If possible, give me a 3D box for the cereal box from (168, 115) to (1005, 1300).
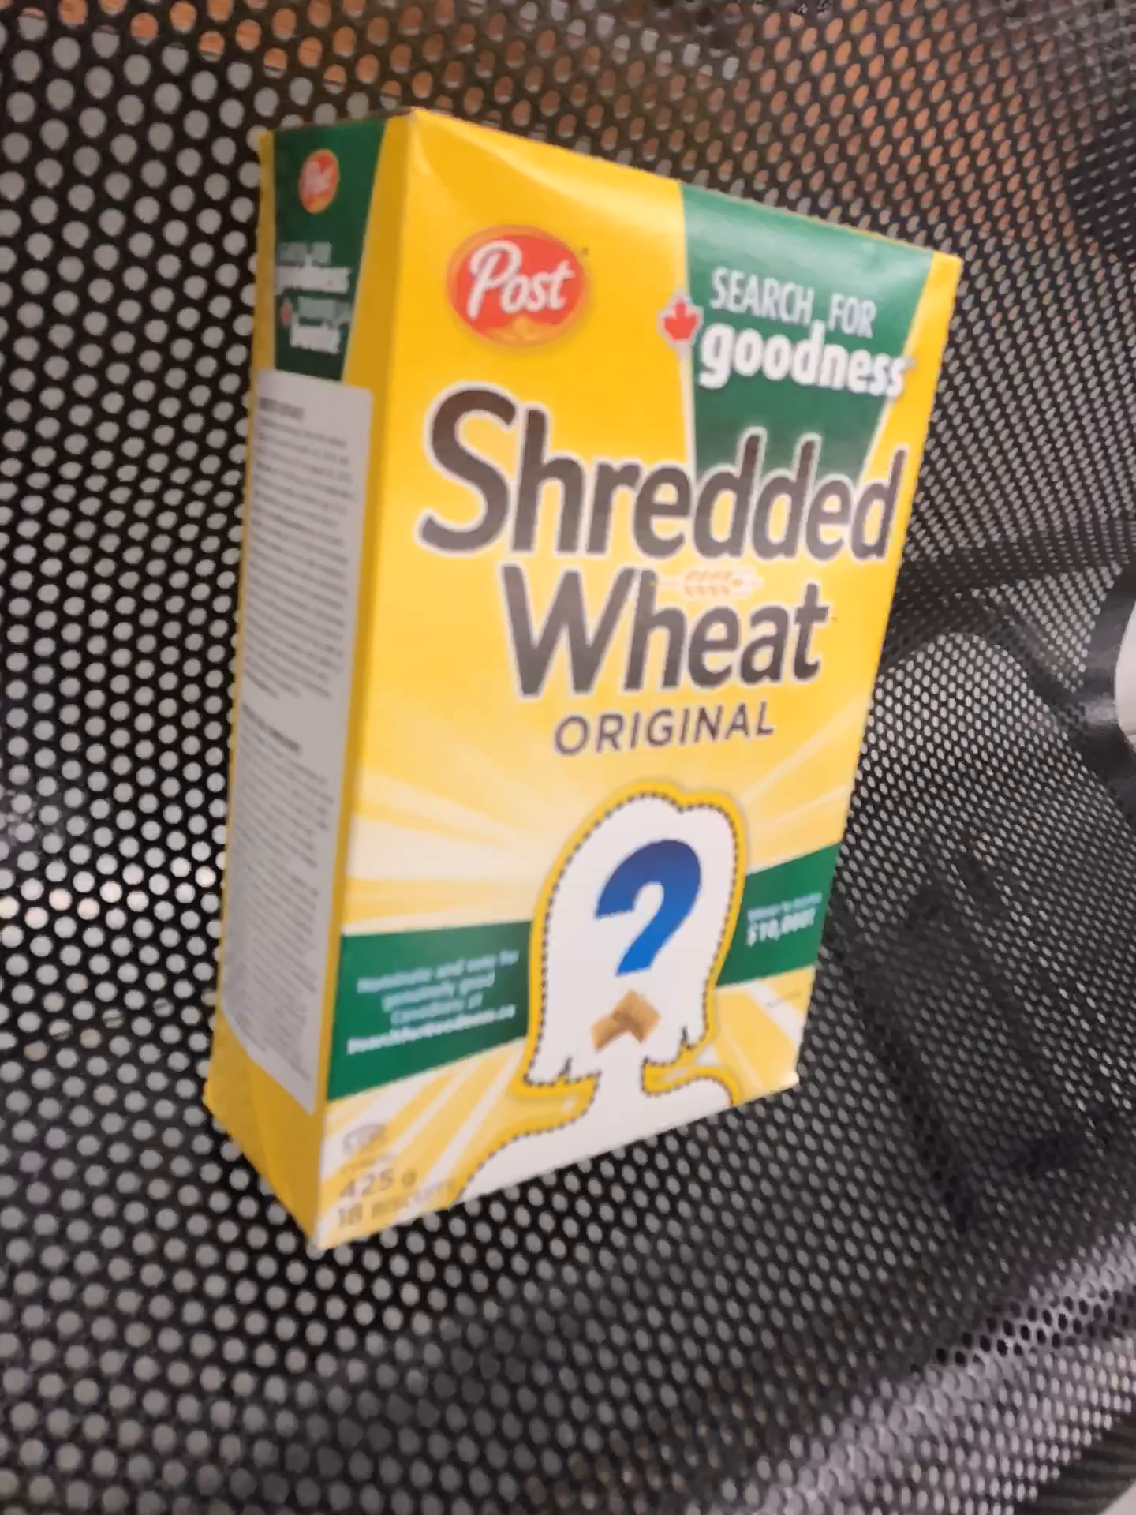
[{"bbox_3d":[0.002,-0.015,0.378,0.211,0.279,0.090,-6,22,-38],"label":"cereal box"}]
